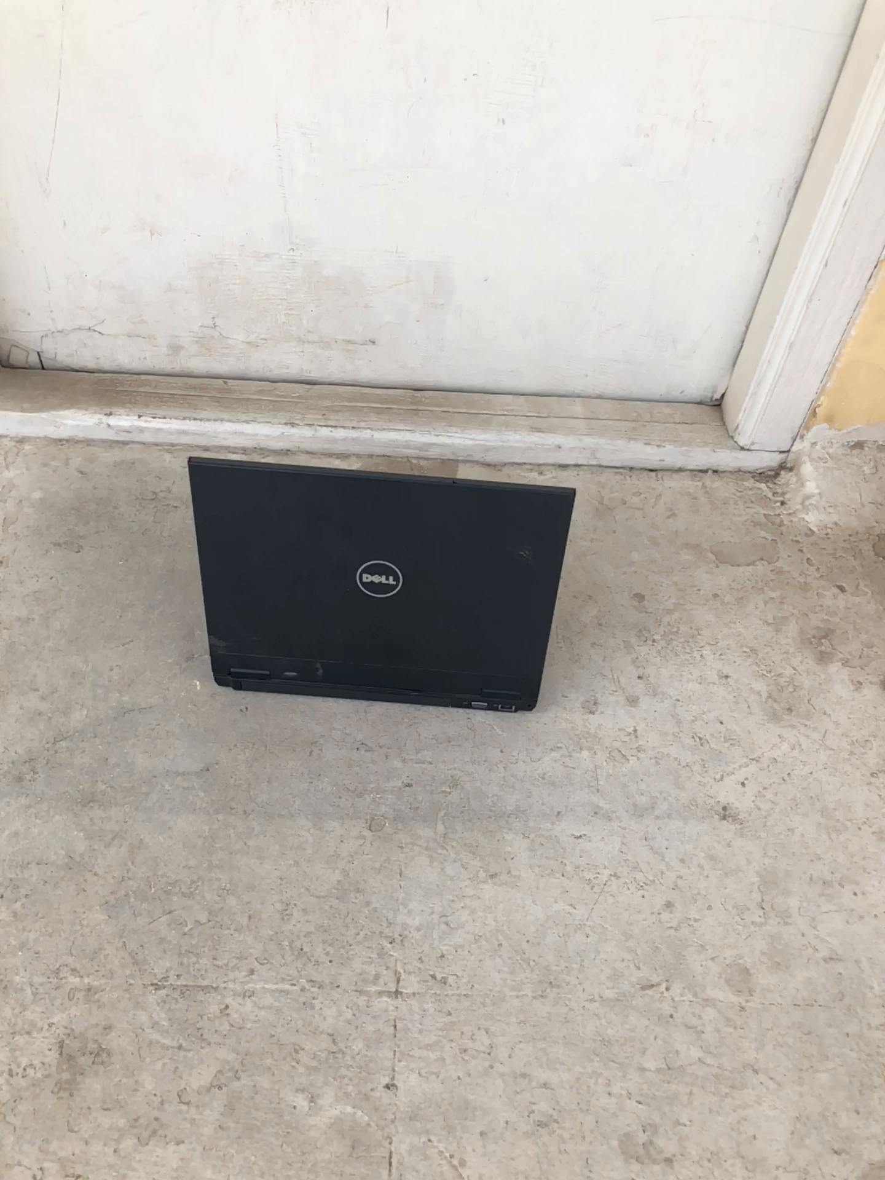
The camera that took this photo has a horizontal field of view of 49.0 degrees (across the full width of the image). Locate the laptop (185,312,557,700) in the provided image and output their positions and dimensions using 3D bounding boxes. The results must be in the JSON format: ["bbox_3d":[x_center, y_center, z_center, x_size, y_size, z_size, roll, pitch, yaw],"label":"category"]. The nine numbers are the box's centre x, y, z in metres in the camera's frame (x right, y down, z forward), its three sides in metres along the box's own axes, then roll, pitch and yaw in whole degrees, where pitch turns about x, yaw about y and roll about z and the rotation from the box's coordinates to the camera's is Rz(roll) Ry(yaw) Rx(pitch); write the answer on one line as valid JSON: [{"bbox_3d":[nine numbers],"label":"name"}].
[{"bbox_3d":[-0.054,-0.073,0.904,0.279,0.251,0.225,5,52,1],"label":"laptop"}]
